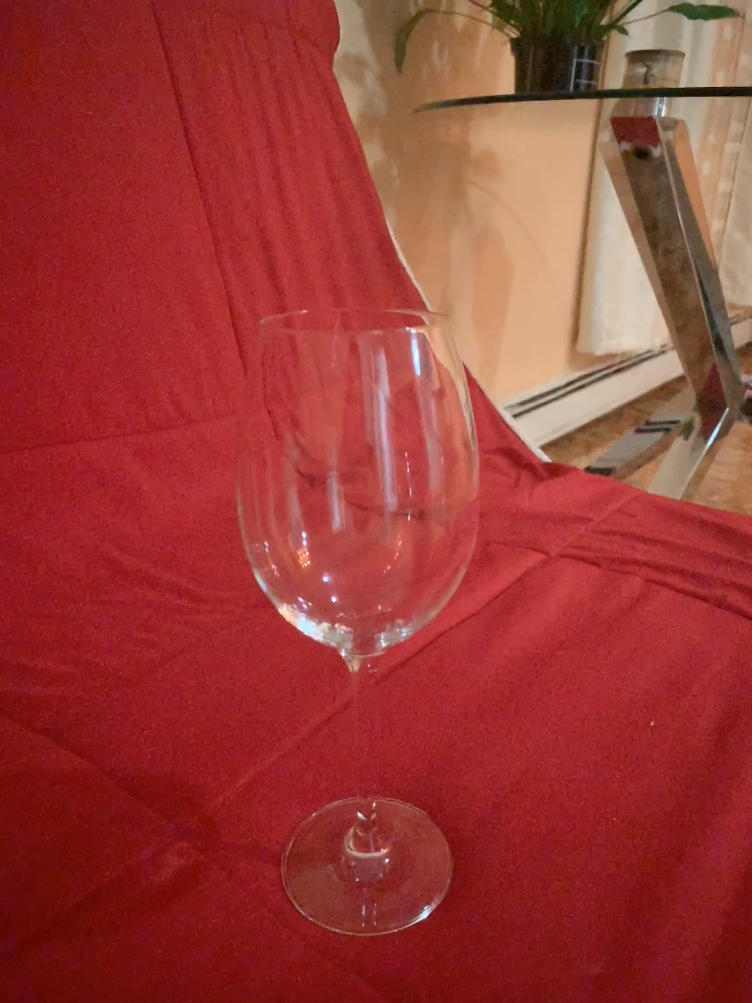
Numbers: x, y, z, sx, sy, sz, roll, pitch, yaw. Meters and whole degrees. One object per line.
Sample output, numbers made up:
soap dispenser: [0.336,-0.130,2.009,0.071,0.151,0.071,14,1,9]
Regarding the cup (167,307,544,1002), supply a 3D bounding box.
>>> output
cup: [-0.007,0.059,0.300,0.083,0.246,0.094,19,28,36]
